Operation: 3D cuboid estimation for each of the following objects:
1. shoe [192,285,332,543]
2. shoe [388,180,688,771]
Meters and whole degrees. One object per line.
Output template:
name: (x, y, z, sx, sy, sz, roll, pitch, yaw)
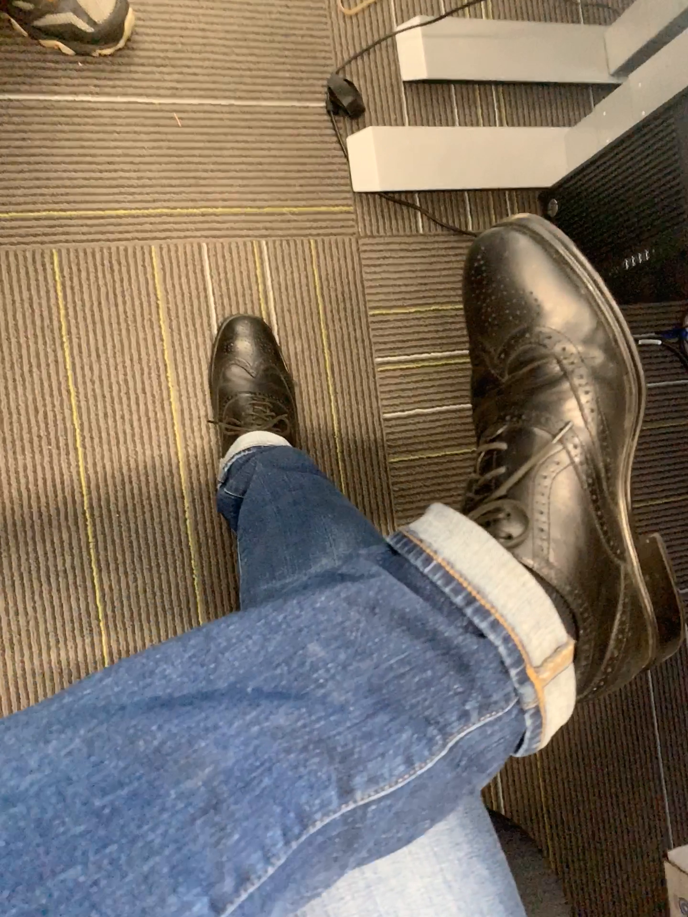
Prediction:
shoe: (-0.100, -0.050, 0.826, 0.111, 0.105, 0.273, -8, 91, -16)
shoe: (0.106, 0.005, 0.390, 0.091, 0.111, 0.273, -8, 91, -19)
